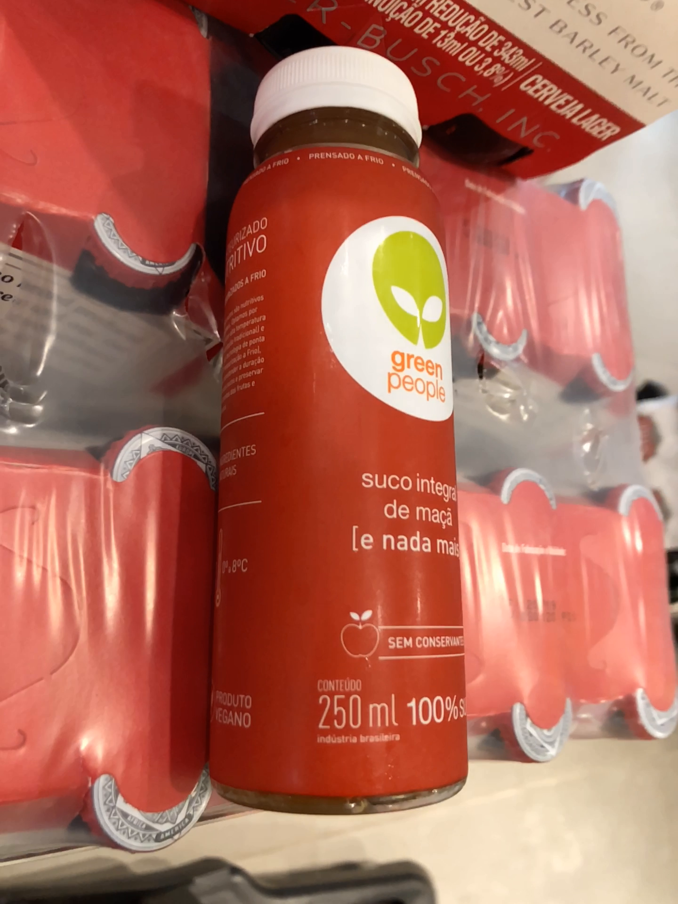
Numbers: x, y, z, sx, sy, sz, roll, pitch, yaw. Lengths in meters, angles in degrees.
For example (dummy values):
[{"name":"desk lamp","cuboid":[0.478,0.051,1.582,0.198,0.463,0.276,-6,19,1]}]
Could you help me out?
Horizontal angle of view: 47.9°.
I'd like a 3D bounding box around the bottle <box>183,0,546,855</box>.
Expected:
[{"name":"bottle","cuboid":[0.007,-0.019,0.170,0.060,0.040,0.180,9,76,-35]}]
